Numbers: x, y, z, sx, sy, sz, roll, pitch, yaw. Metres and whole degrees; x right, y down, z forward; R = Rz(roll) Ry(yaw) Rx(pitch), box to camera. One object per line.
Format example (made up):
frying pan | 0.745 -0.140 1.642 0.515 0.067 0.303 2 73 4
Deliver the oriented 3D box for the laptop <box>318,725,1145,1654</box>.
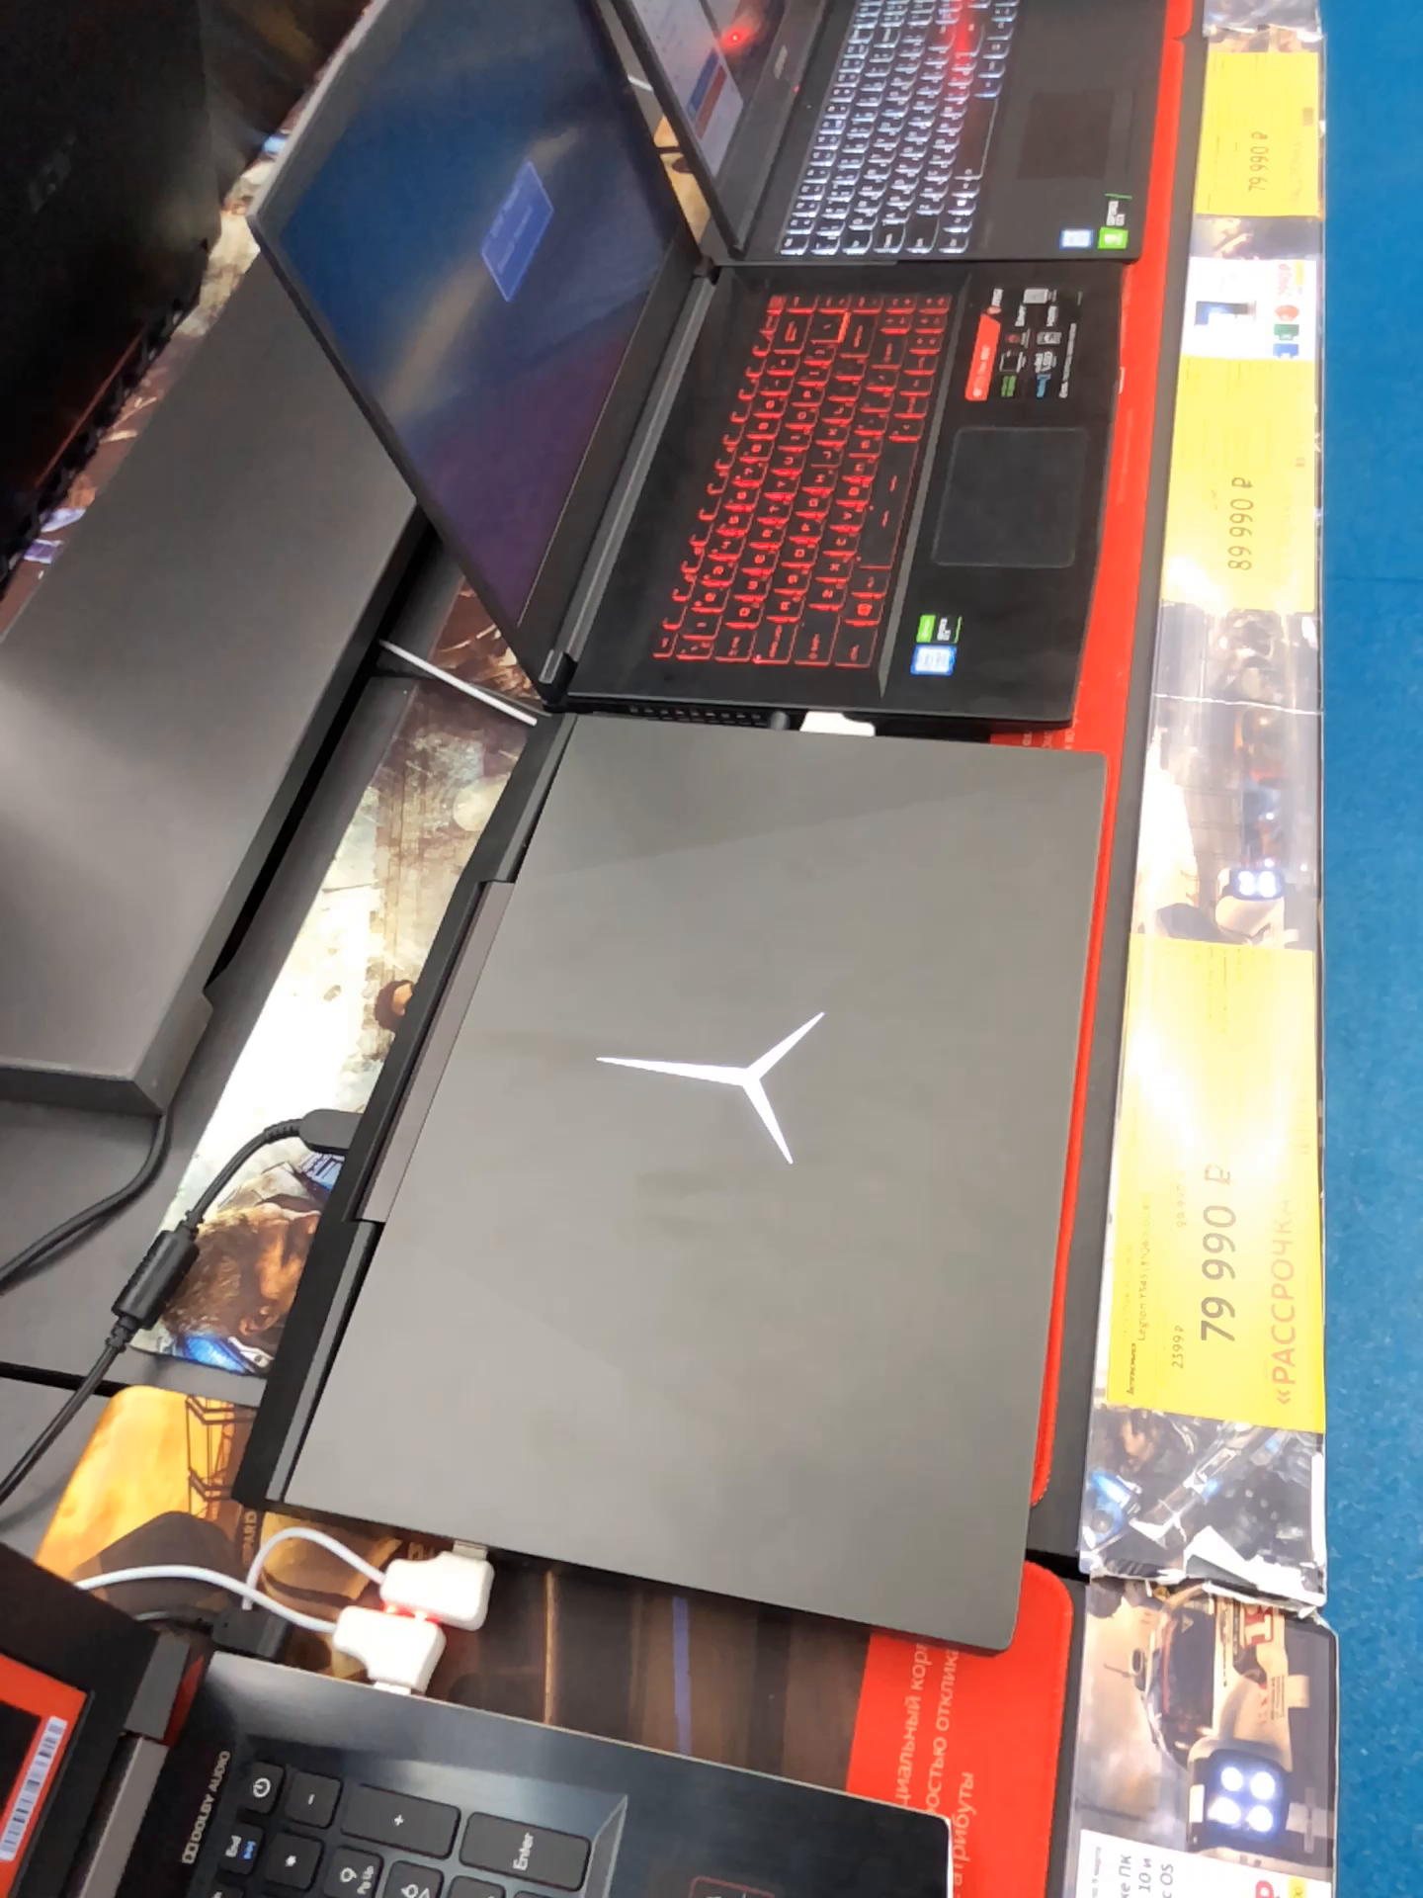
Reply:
laptop | 0.024 0.054 0.579 0.227 0.007 0.345 7 57 16
